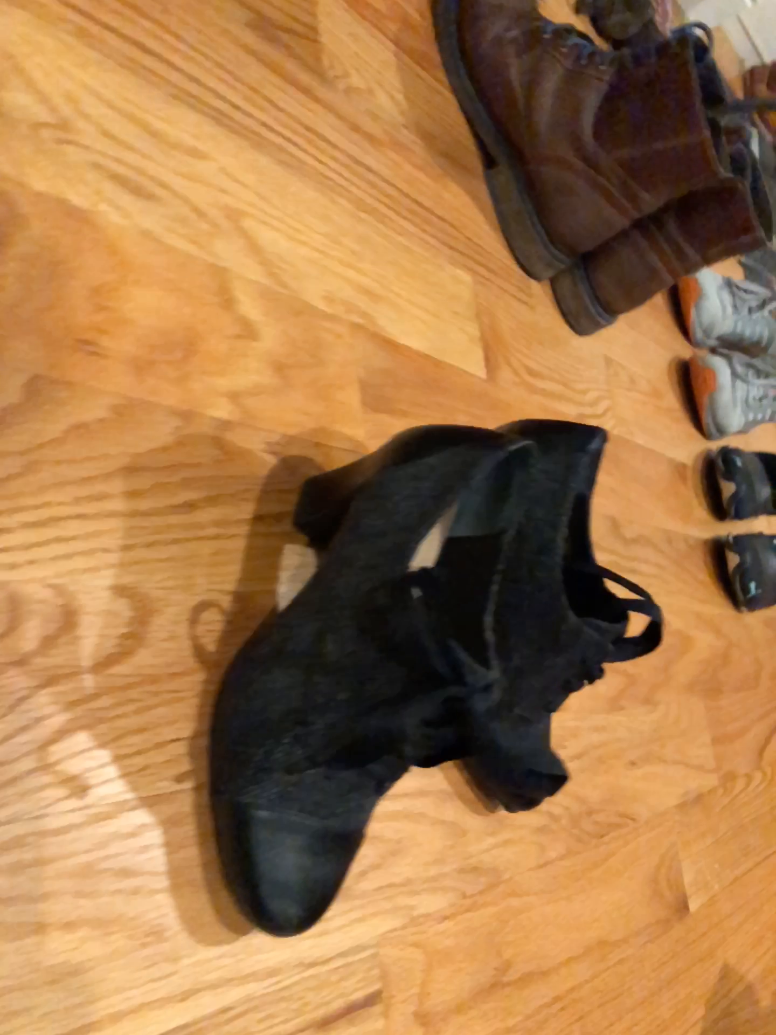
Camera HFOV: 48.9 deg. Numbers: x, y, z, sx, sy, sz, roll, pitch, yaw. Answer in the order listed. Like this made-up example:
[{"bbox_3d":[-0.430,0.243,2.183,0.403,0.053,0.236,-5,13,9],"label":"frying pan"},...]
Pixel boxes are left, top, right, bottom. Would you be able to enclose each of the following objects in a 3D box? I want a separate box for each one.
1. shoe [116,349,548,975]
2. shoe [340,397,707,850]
[{"bbox_3d":[-0.012,0.062,0.368,0.093,0.125,0.223,35,51,-41],"label":"shoe"},{"bbox_3d":[0.076,0.059,0.483,0.088,0.125,0.223,-14,88,-54],"label":"shoe"}]
